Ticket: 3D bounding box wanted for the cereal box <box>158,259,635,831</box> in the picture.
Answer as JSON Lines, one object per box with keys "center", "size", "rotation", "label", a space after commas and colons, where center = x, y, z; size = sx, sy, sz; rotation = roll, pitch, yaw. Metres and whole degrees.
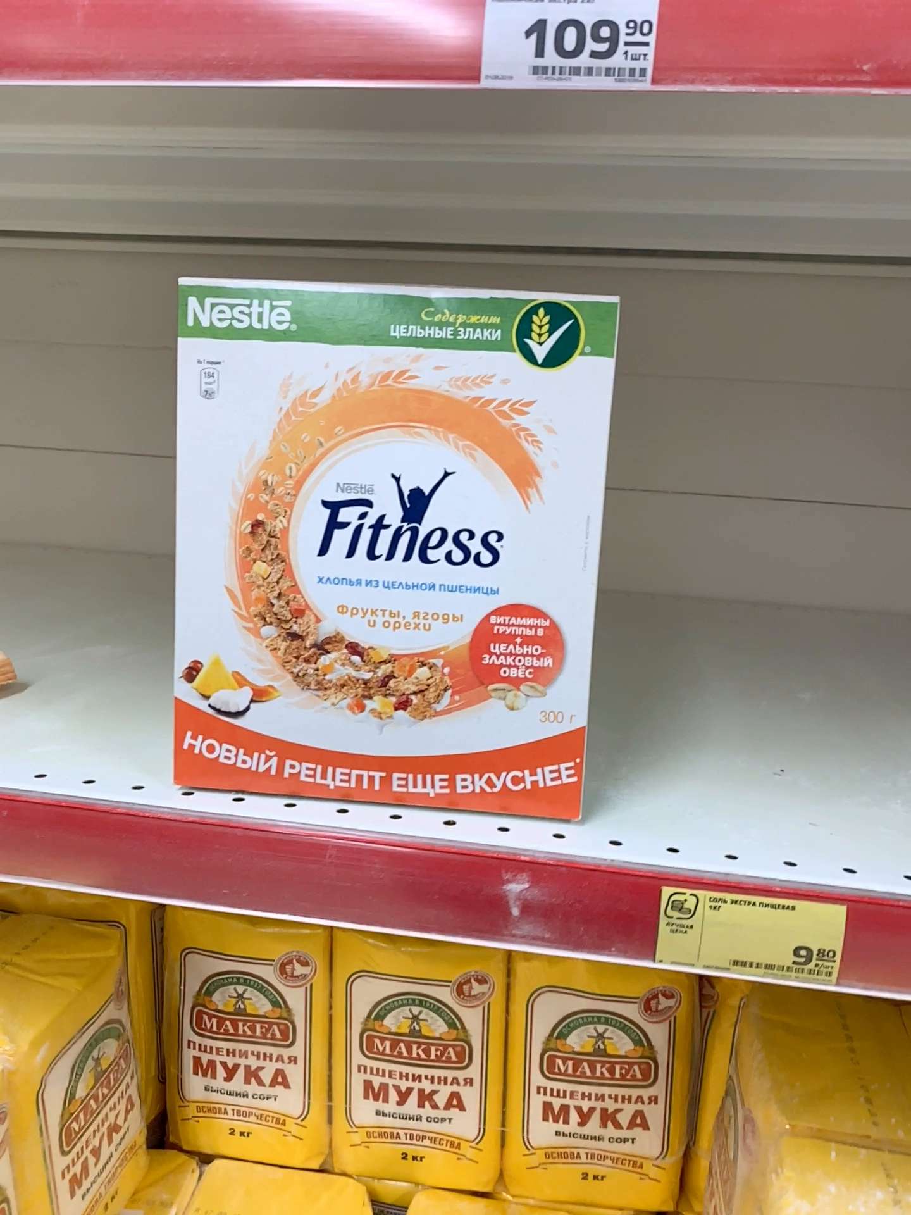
{"center": [-0.029, -0.030, 0.444], "size": [0.200, 0.239, 0.060], "rotation": [4, 7, 5], "label": "cereal box"}
